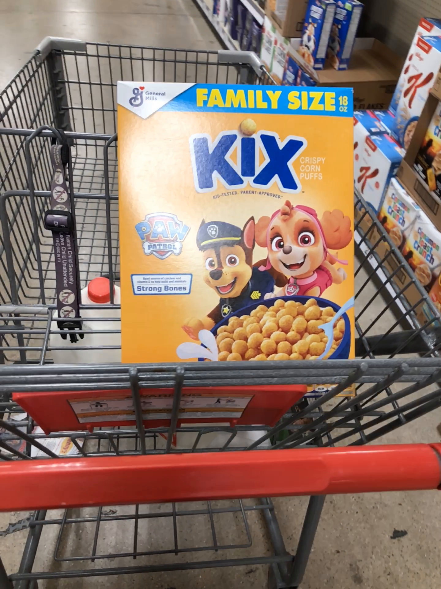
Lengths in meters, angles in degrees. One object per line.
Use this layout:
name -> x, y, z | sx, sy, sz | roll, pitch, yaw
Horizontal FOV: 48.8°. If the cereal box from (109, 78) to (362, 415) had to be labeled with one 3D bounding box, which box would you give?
cereal box -> 0.015, -0.047, 0.531 | 0.250, 0.330, 0.090 | 0, 3, -4
